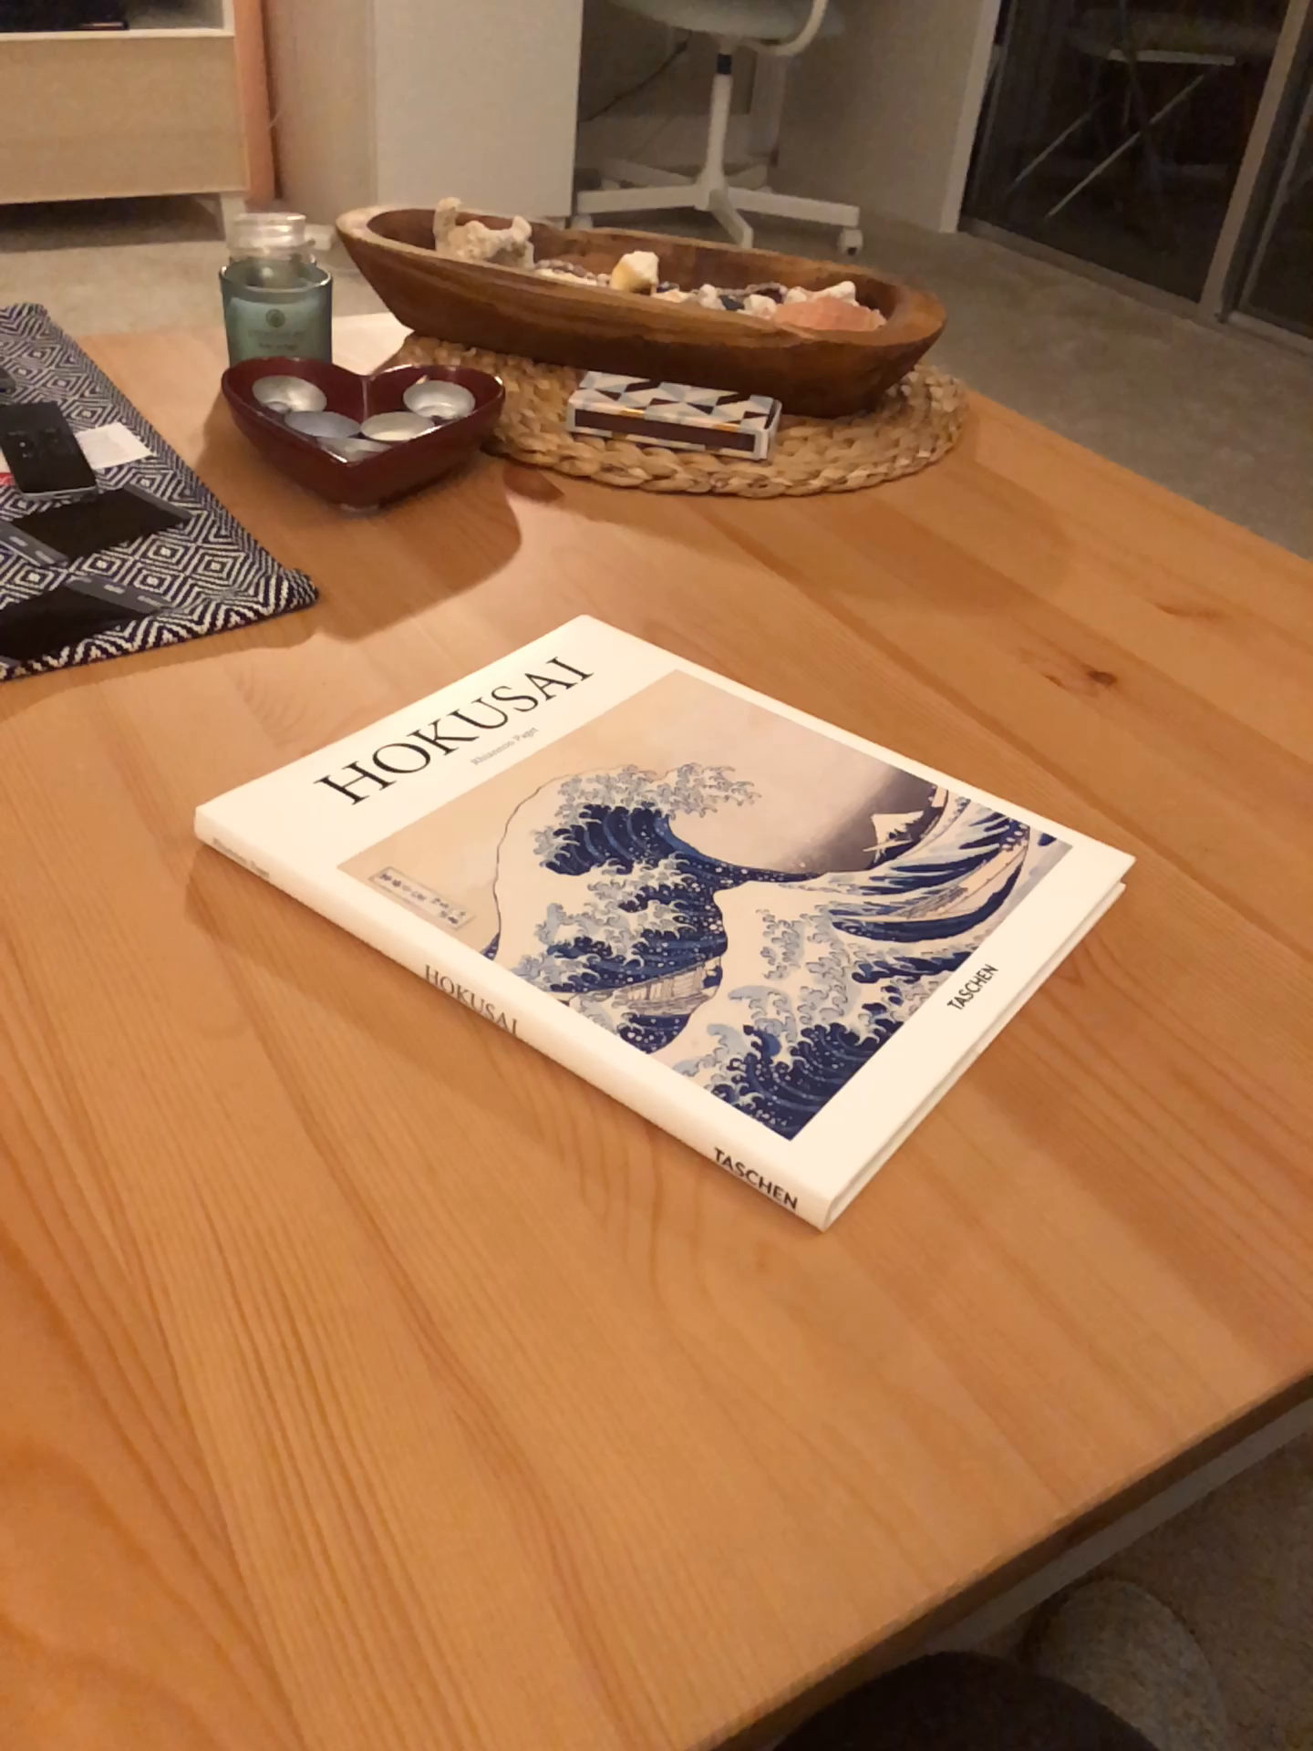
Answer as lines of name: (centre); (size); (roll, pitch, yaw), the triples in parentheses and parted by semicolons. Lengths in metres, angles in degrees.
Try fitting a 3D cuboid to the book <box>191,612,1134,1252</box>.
book: (0.006, -0.007, 0.504); (0.252, 0.020, 0.211); (28, 42, 26)
